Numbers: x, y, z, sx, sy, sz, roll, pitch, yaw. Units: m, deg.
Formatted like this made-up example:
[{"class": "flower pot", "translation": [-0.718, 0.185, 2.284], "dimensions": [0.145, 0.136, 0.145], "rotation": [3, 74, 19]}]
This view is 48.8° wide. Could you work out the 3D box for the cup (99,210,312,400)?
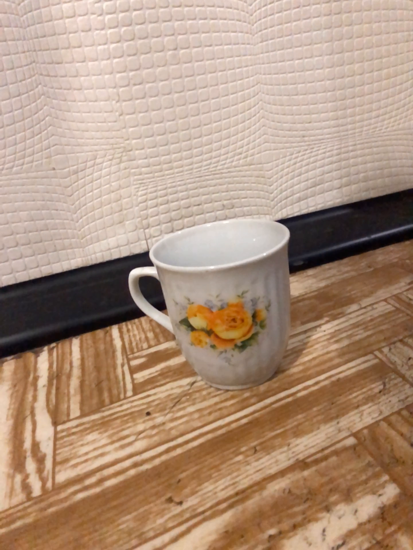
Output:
[{"class": "cup", "translation": [0.005, 0.013, 0.270], "dimensions": [0.097, 0.069, 0.095], "rotation": [-8, 21, 3]}]
